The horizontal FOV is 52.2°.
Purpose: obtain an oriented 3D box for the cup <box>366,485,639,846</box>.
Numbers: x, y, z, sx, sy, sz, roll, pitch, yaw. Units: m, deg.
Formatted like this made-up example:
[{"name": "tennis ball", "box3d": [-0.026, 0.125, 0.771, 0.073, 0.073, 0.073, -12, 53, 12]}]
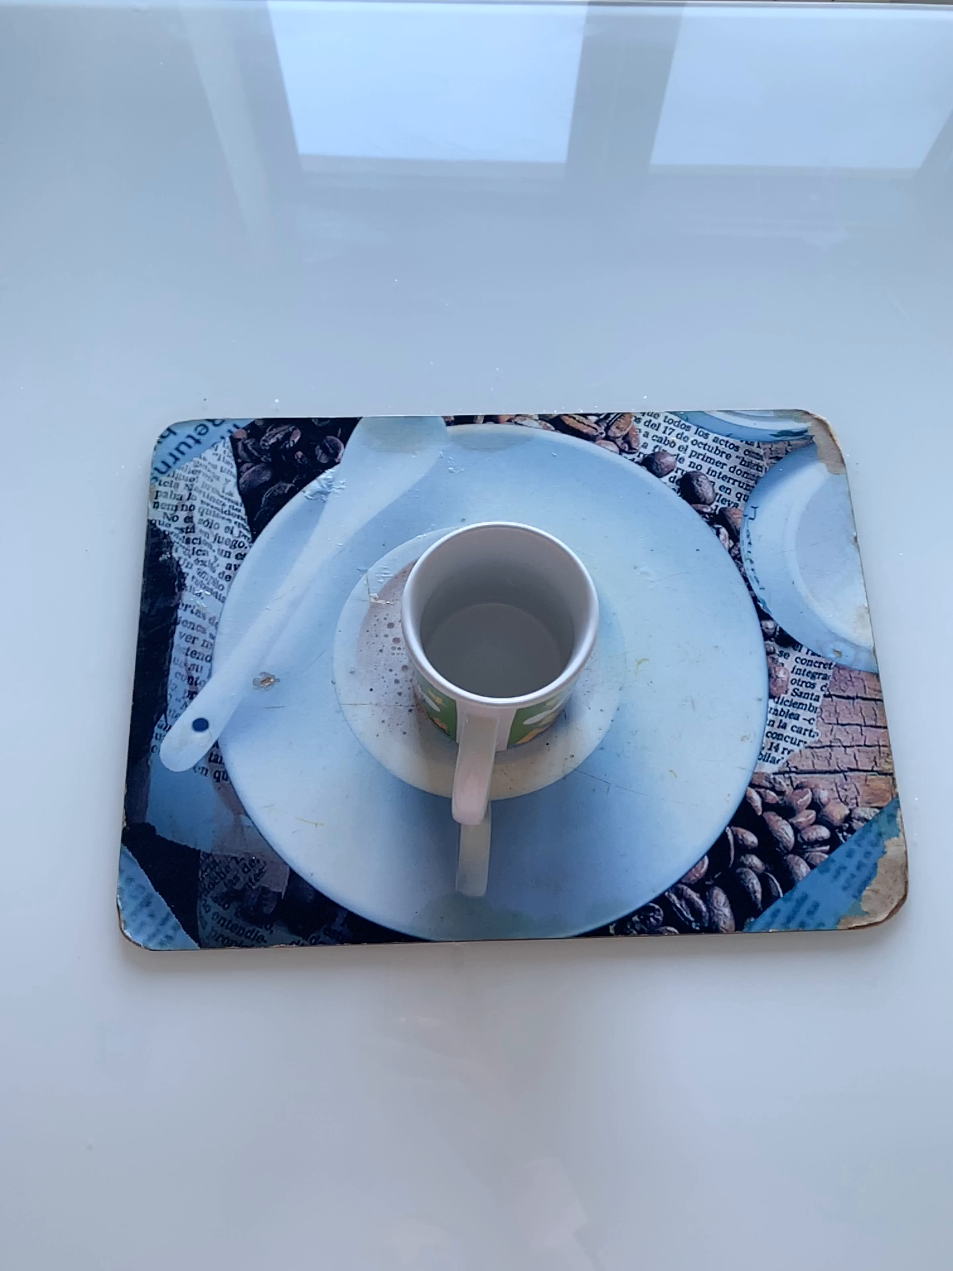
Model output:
[{"name": "cup", "box3d": [0.013, 0.016, 0.440, 0.094, 0.077, 0.133, 9, 72, 2]}]
